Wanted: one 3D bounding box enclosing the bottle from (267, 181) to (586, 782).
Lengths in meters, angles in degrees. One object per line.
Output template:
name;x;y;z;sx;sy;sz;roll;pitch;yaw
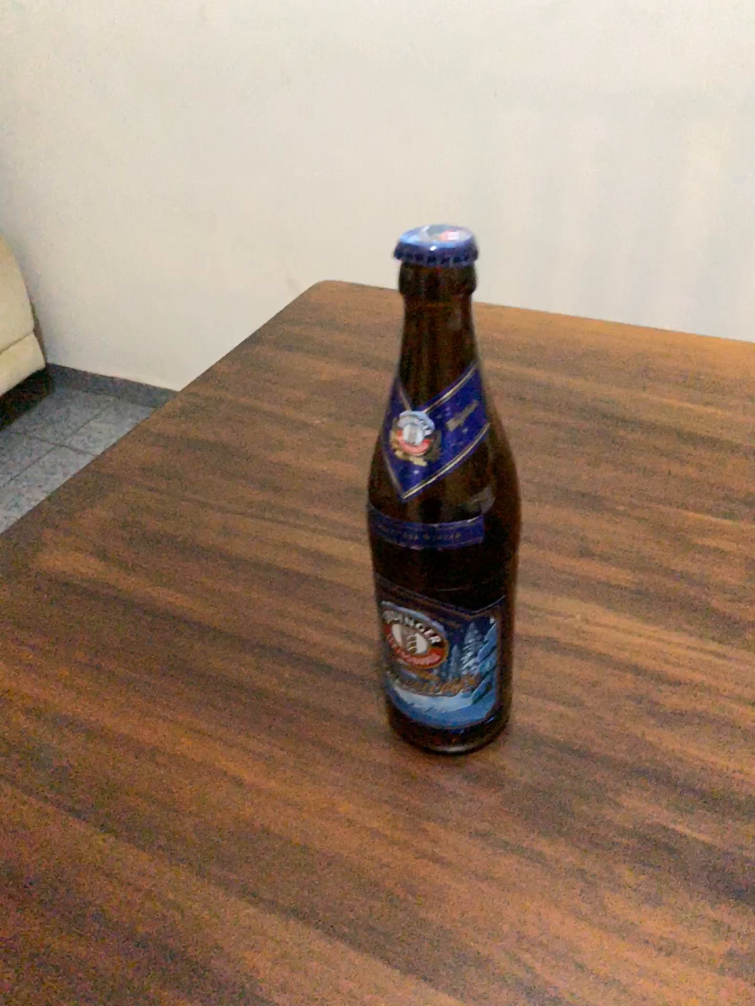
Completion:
bottle;0.025;0.007;0.328;0.080;0.249;0.070;16;44;23
